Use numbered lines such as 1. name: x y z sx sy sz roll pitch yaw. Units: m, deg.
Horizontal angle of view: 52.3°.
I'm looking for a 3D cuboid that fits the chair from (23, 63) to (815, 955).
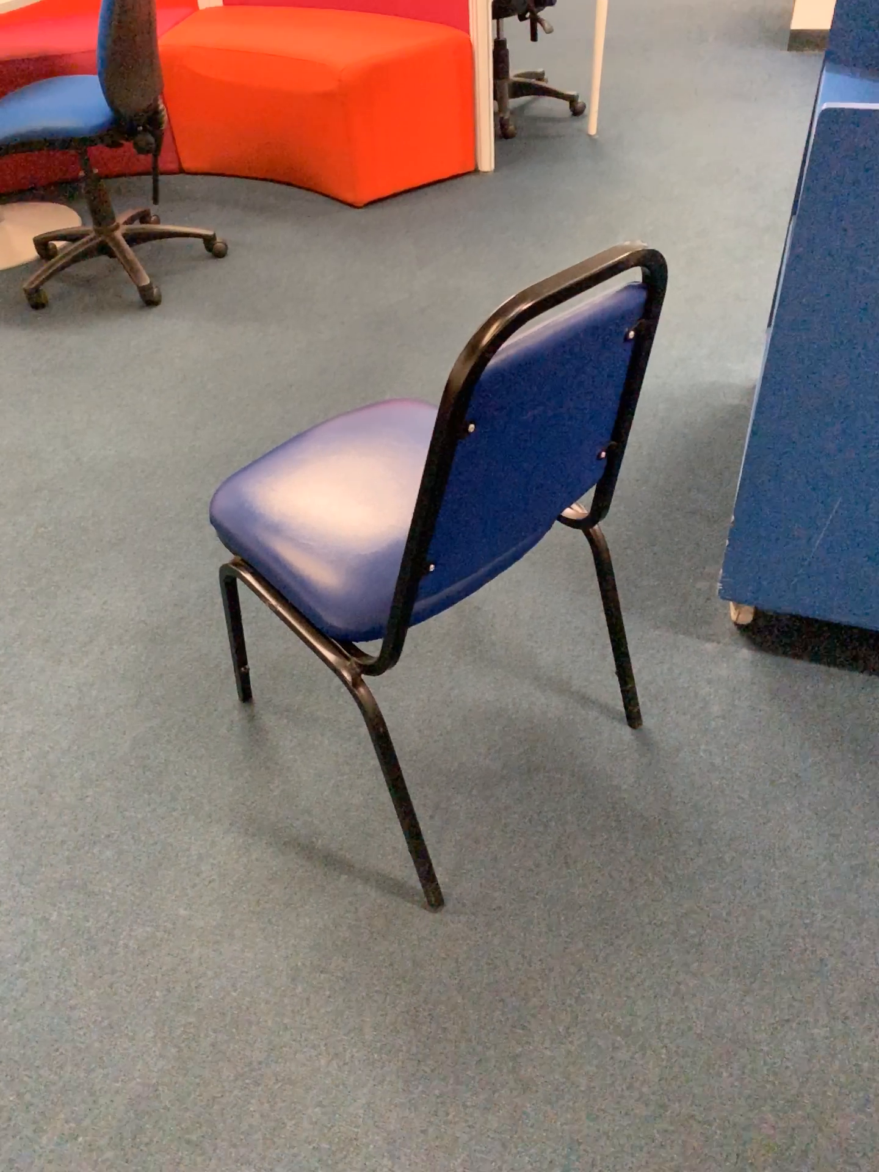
1. chair: -0.015 -0.099 1.207 0.562 0.882 0.583 -32 50 -26
